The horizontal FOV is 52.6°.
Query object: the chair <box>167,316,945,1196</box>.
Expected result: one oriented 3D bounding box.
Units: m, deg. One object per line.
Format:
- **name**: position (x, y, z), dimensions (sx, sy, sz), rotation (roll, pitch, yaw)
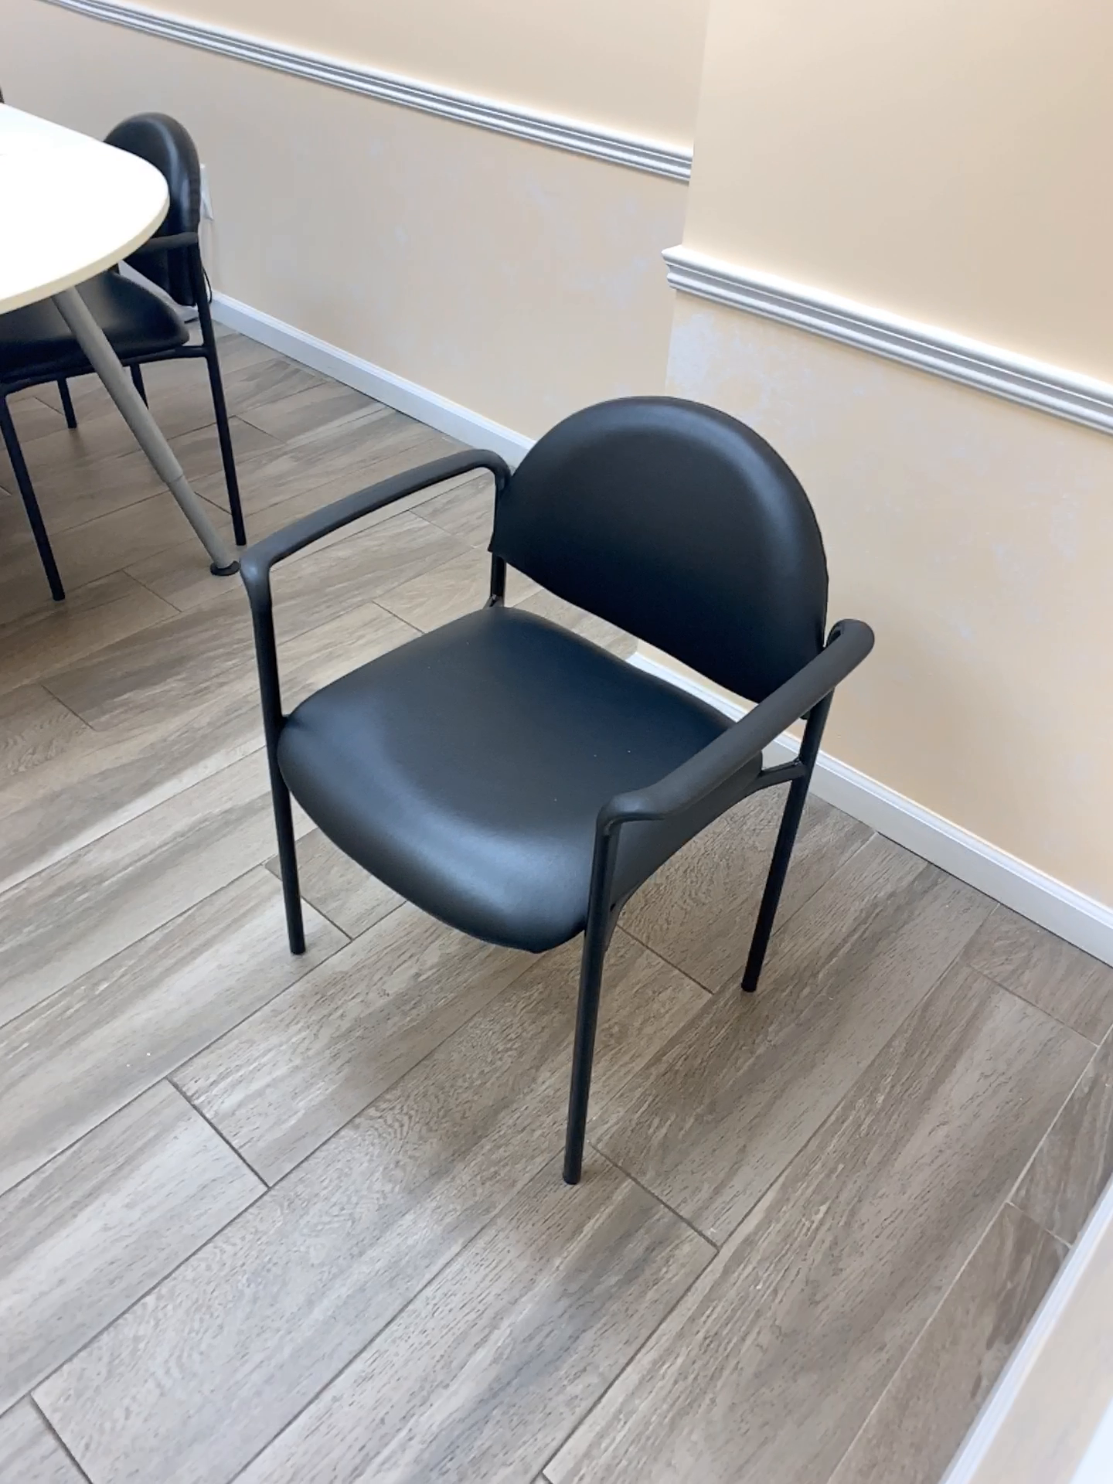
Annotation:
- **chair**: position (-0.013, -0.004, 1.355), dimensions (0.584, 0.726, 0.512), rotation (31, 47, 28)
